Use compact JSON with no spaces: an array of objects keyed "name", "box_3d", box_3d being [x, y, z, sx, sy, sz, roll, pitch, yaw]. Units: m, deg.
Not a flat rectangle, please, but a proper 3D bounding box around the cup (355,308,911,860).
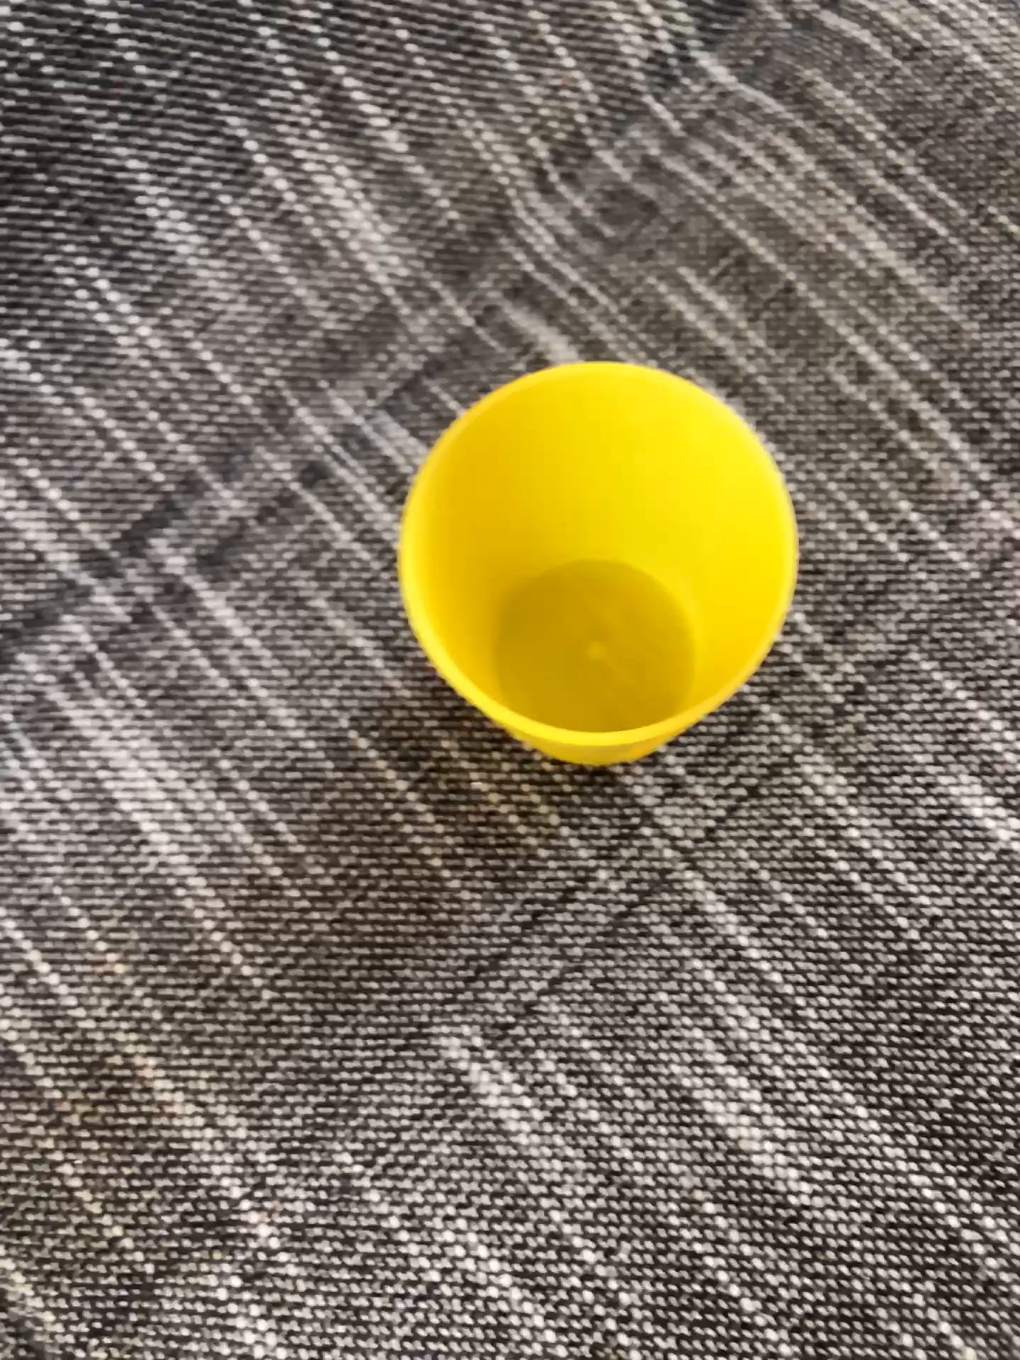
[{"name":"cup","box_3d":[0.020,-0.010,0.213,0.060,0.080,0.060,-1,79,3]}]
